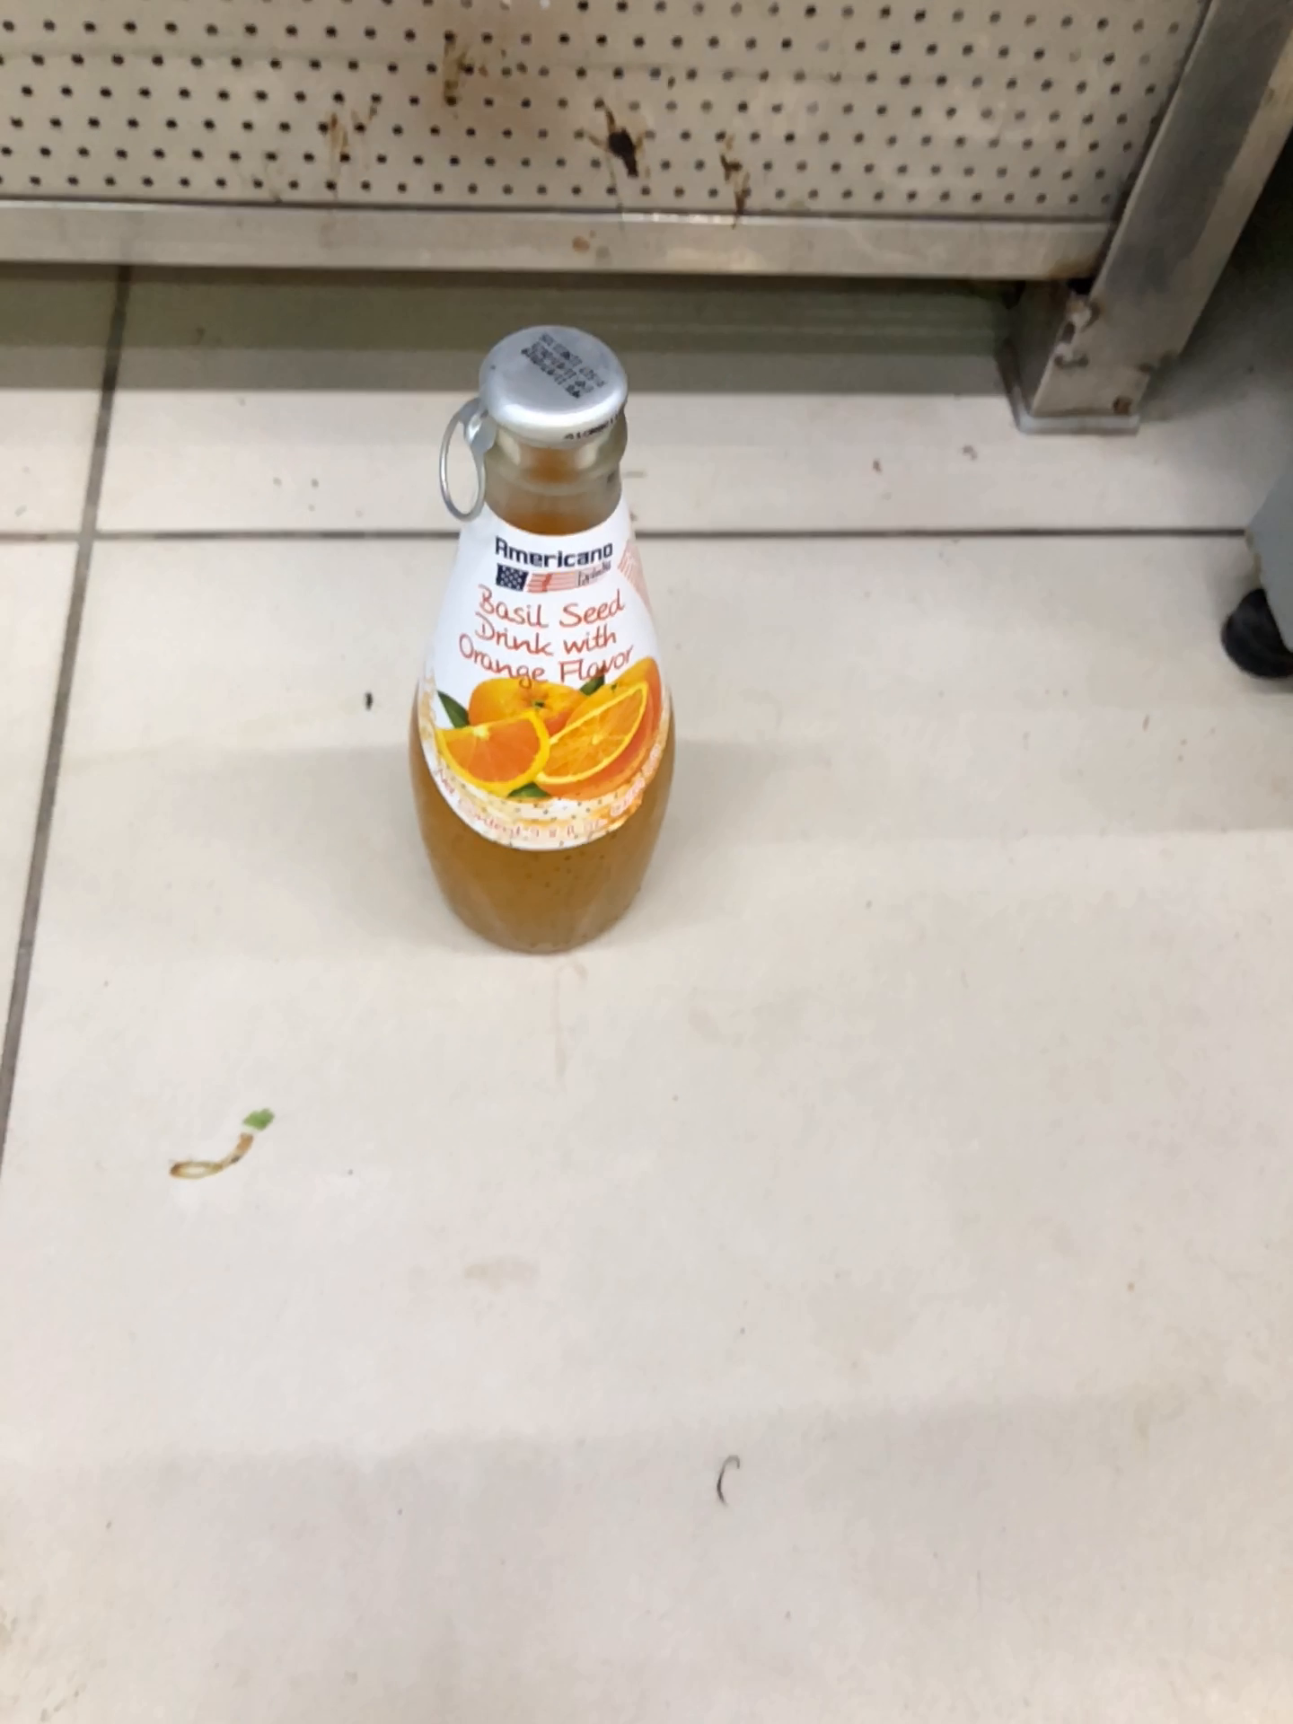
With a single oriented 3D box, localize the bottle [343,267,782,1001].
[{"bbox_3d":[-0.023,-0.041,0.335,0.070,0.169,0.070,2,59,-4],"label":"bottle"}]
